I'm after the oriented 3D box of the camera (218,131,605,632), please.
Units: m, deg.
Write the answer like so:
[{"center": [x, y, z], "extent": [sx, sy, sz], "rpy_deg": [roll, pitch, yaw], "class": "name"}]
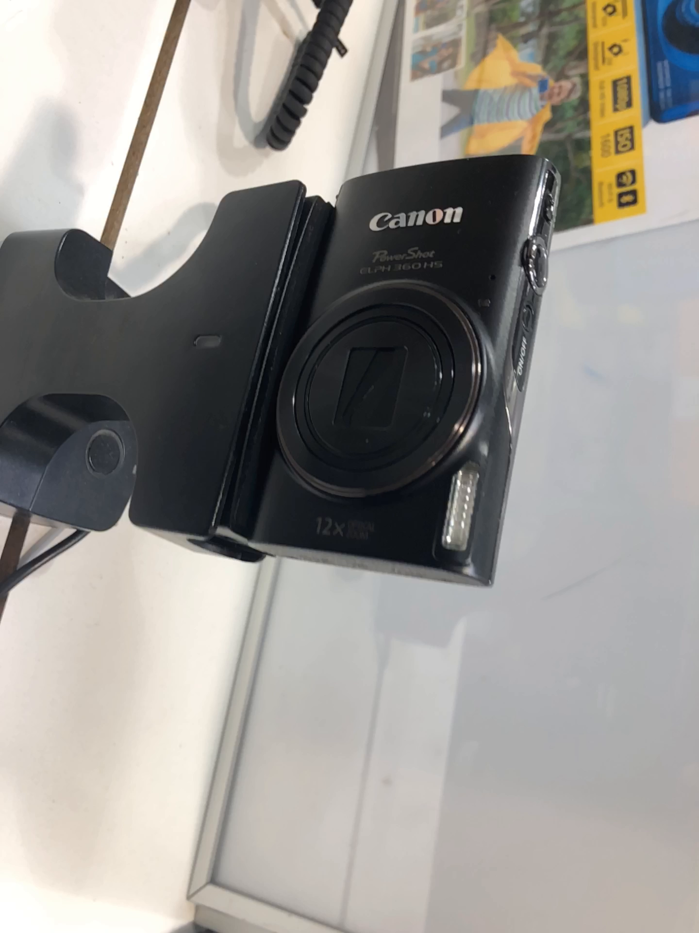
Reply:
[{"center": [0.018, -0.021, 0.193], "extent": [0.030, 0.070, 0.110], "rpy_deg": [39, 58, -54], "class": "camera"}]
